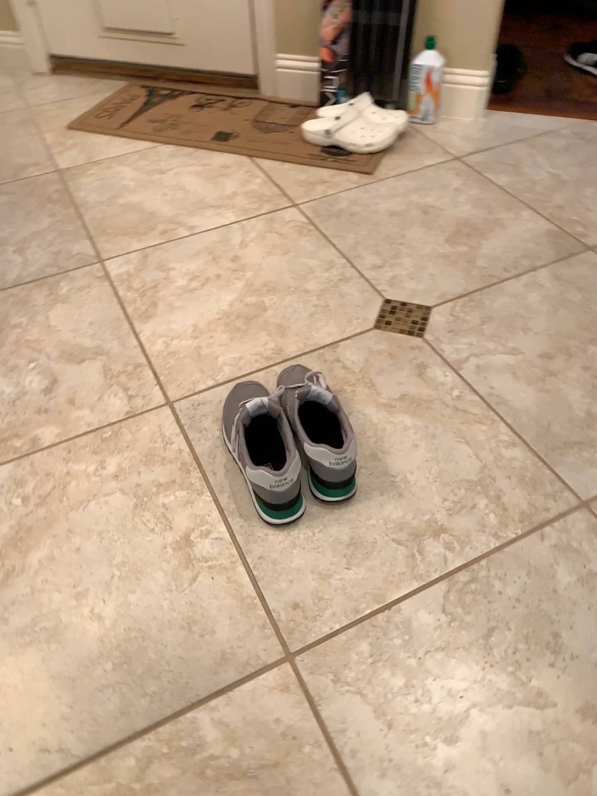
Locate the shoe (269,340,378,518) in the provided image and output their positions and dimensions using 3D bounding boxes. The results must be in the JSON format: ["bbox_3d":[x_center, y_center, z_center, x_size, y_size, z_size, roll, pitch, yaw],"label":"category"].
[{"bbox_3d":[0.033,0.041,0.996,0.115,0.103,0.275,-9,47,-6],"label":"shoe"}]

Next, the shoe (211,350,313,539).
[{"bbox_3d":[-0.062,0.064,0.972,0.115,0.103,0.285,-9,47,-6],"label":"shoe"}]
